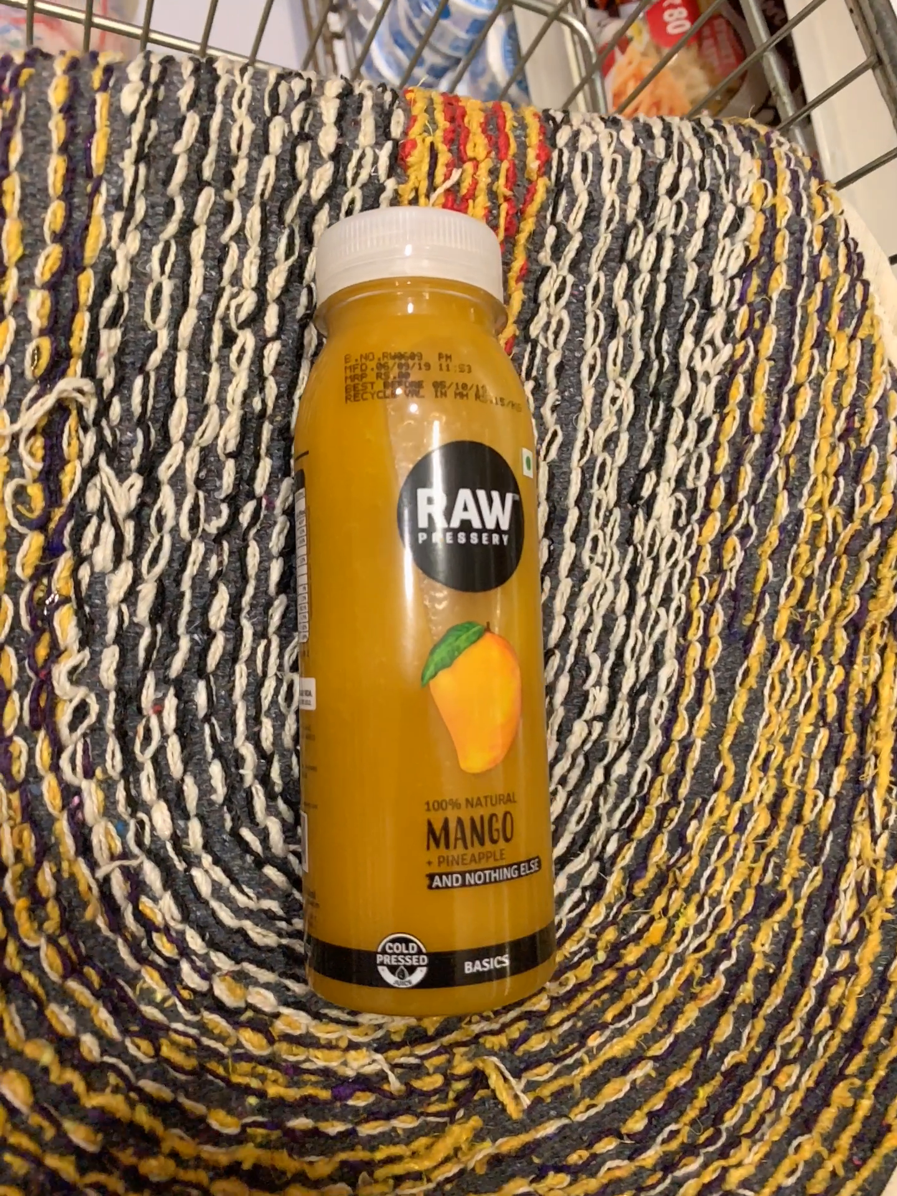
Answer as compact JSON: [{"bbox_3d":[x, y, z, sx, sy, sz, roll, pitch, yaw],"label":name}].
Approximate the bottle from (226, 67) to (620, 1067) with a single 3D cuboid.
[{"bbox_3d":[-0.010,-0.007,0.191,0.060,0.050,0.170,0,83,-23],"label":"bottle"}]
